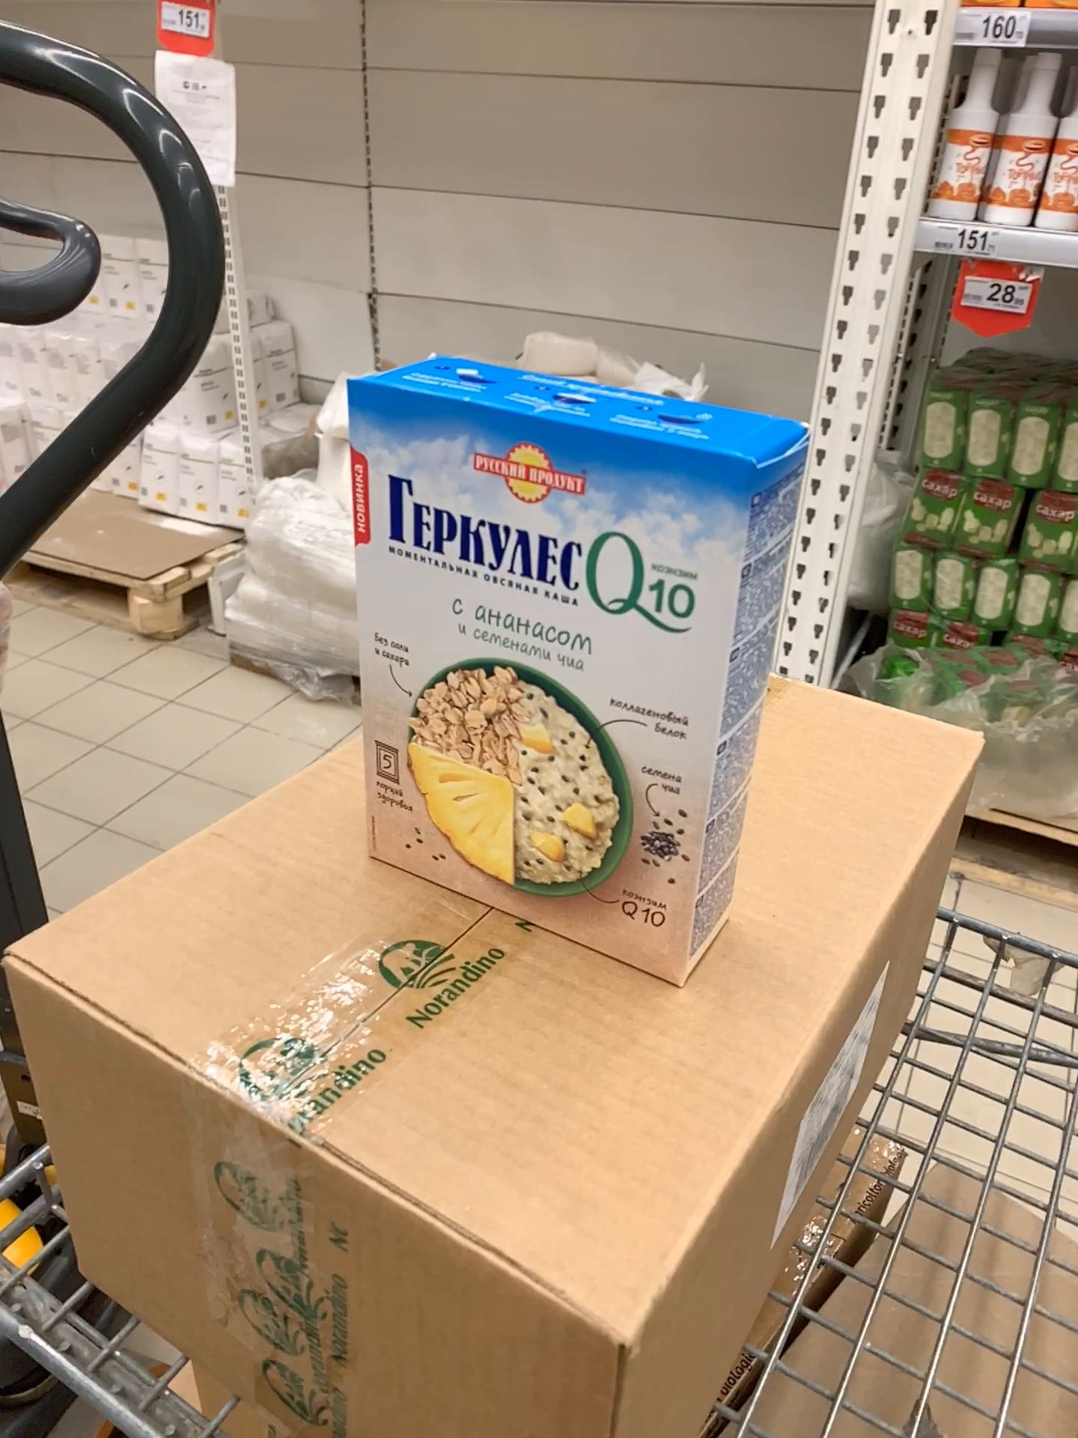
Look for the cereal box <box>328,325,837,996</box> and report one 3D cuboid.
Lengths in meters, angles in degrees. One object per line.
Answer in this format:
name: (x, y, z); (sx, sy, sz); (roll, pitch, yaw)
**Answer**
cereal box: (0.007, -0.021, 0.389); (0.150, 0.199, 0.050); (18, 34, 25)
